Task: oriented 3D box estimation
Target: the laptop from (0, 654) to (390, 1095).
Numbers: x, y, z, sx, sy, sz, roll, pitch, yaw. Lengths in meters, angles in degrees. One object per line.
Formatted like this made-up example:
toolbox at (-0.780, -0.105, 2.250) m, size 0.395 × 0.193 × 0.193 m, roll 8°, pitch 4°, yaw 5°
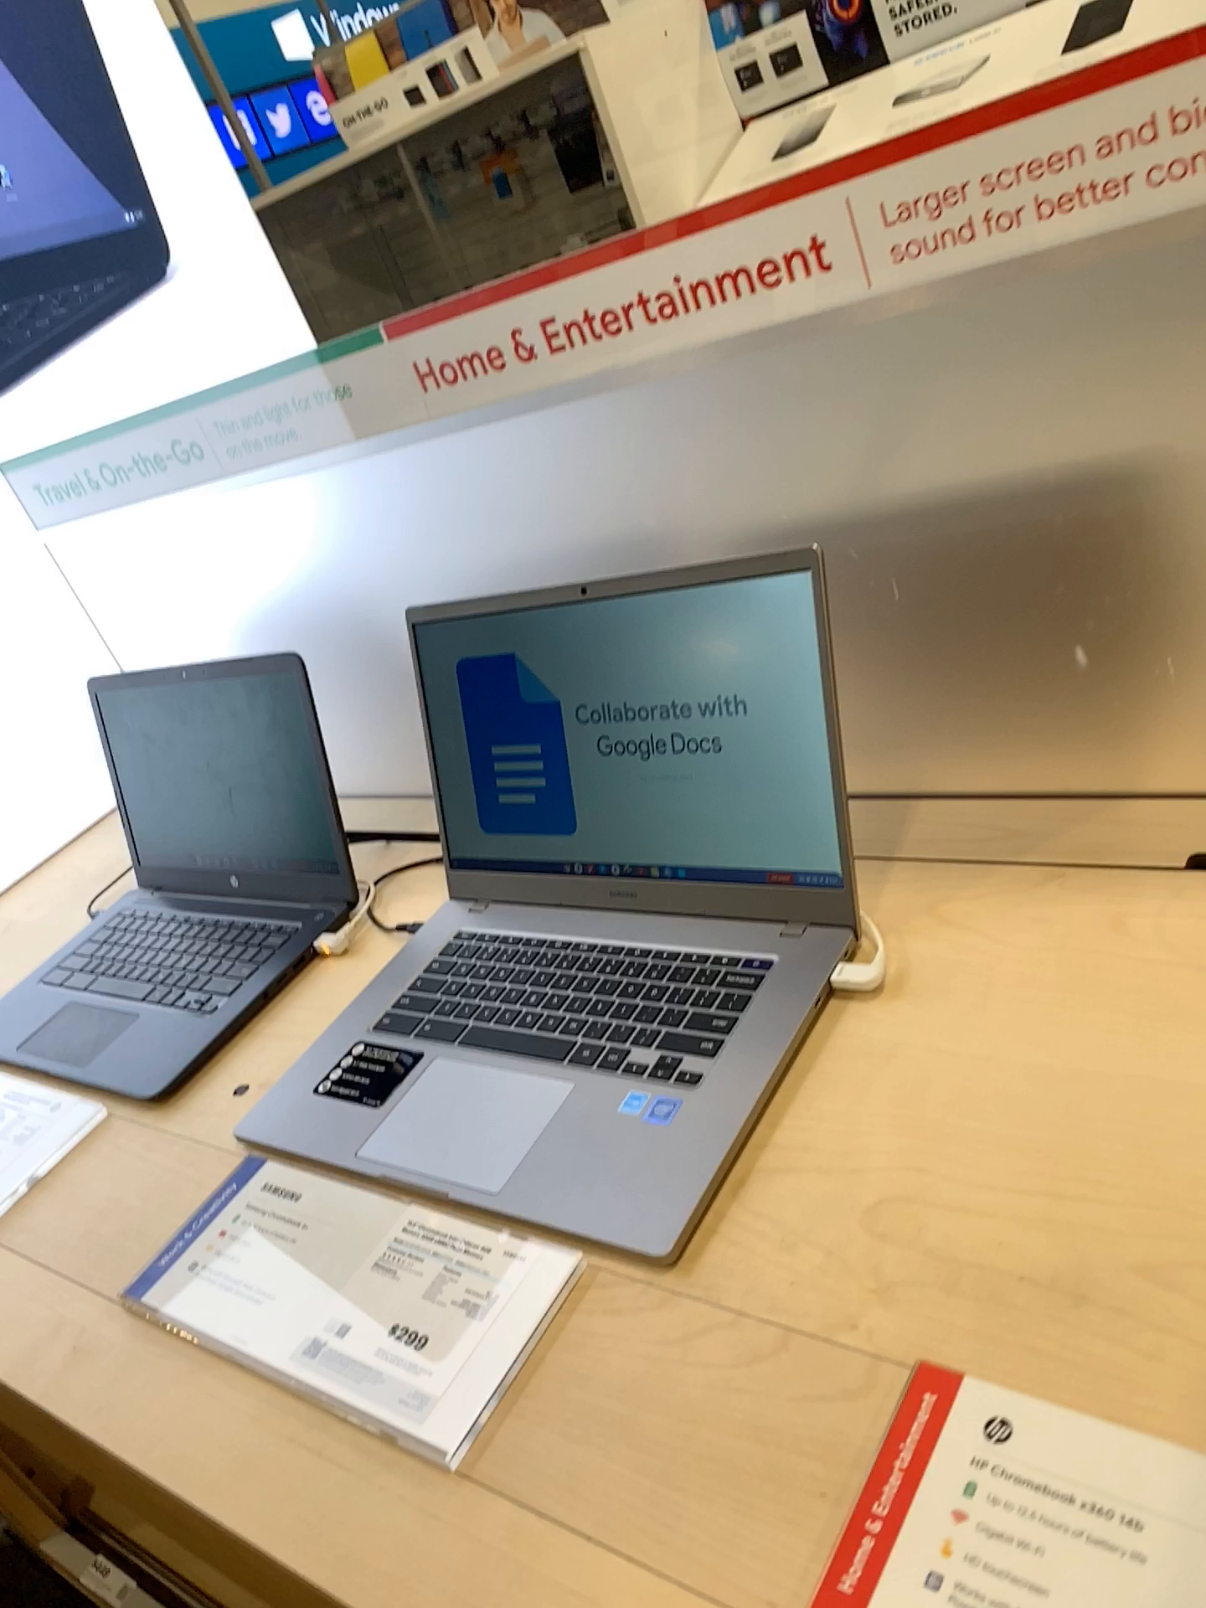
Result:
laptop at (-0.400, 0.042, 1.008) m, size 0.301 × 0.191 × 0.287 m, roll -1°, pitch 33°, yaw 39°

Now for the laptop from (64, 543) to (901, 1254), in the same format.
laptop at (-0.062, 0.034, 0.747) m, size 0.341 × 0.200 × 0.325 m, roll -1°, pitch 35°, yaw 40°
